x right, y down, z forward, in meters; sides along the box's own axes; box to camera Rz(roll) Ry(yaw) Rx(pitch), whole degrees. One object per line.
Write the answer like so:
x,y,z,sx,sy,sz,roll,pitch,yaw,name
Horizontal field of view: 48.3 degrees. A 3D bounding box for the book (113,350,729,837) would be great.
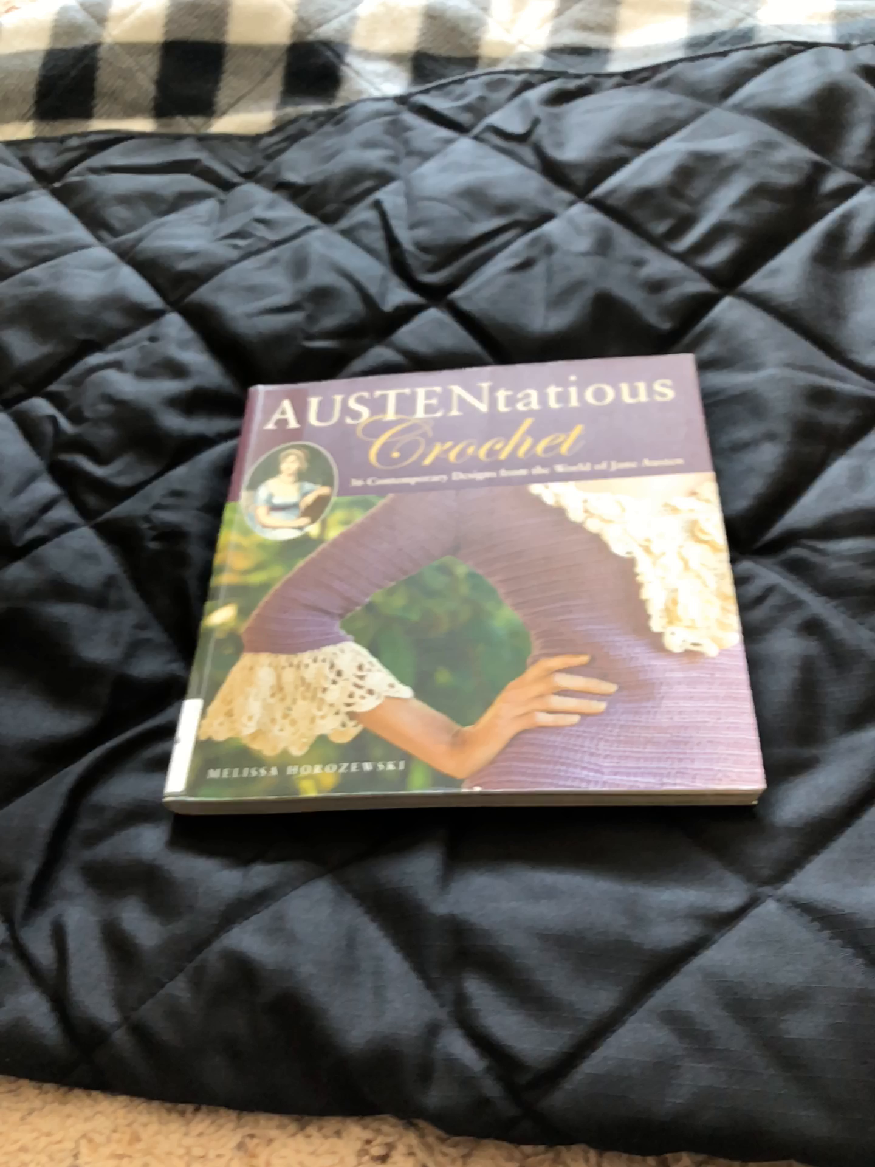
-0.005,-0.007,0.420,0.220,0.020,0.230,-3,53,8,book
